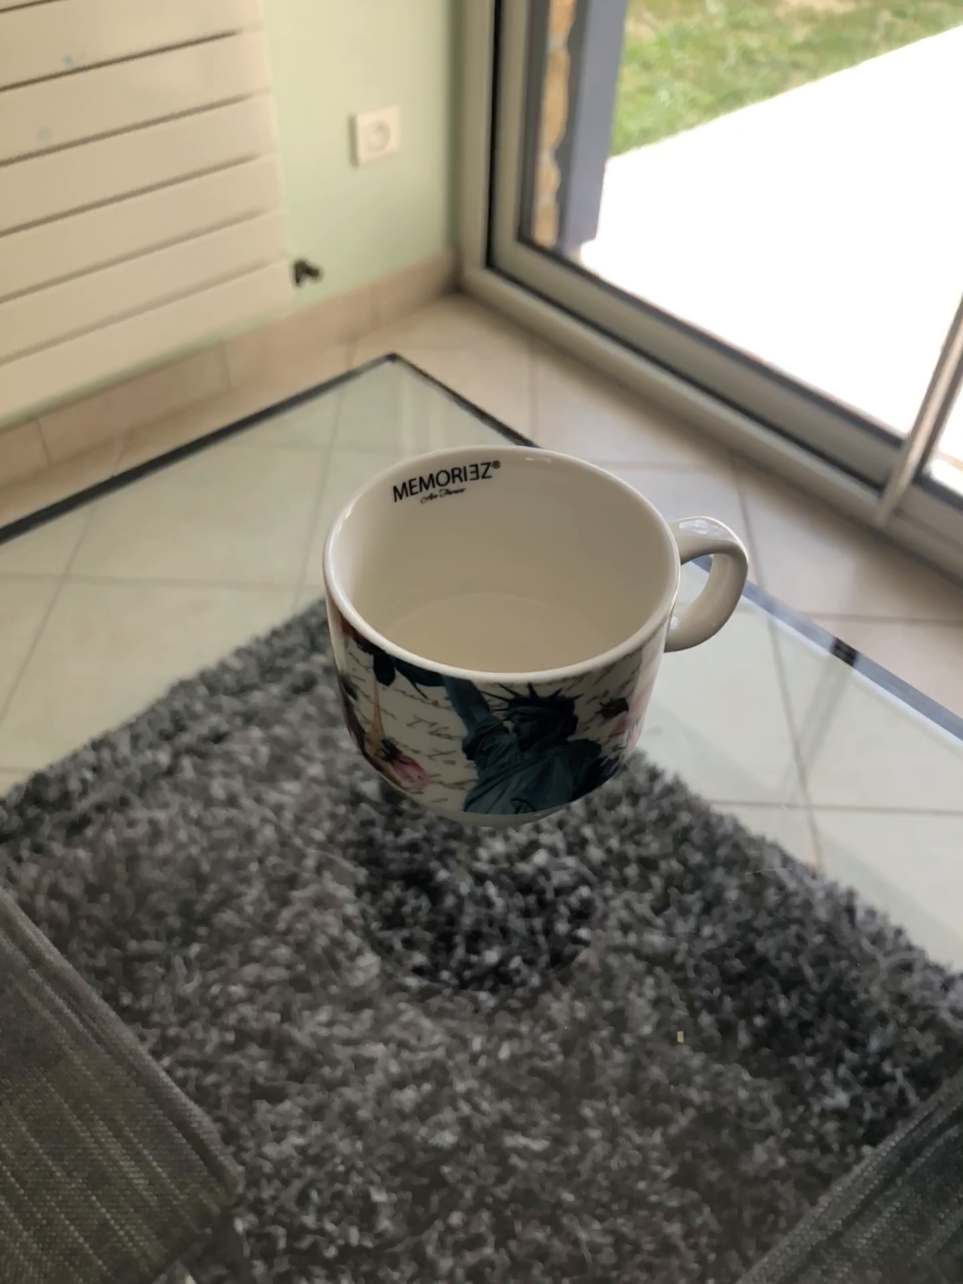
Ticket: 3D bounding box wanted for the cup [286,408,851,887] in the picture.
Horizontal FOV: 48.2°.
[{"bbox_3d":[0.012,-0.002,0.222,0.090,0.050,0.070,-10,47,-12],"label":"cup"}]
